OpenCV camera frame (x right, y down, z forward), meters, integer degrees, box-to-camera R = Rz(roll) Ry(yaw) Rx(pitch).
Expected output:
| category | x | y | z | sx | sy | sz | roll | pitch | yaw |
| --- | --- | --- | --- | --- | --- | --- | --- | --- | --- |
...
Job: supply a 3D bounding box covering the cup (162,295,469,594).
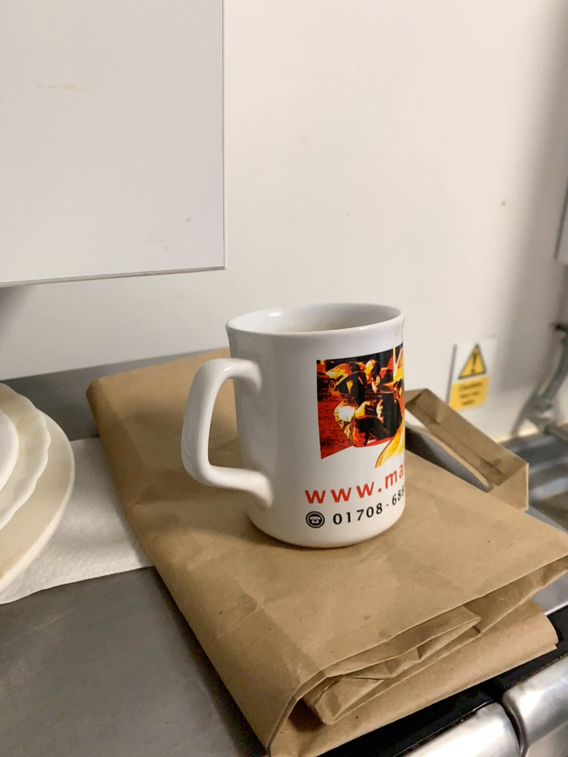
| category | x | y | z | sx | sy | sz | roll | pitch | yaw |
| --- | --- | --- | --- | --- | --- | --- | --- | --- | --- |
| cup | 0.013 | 0.017 | 0.254 | 0.100 | 0.088 | 0.078 | -11 | 16 | -30 |
